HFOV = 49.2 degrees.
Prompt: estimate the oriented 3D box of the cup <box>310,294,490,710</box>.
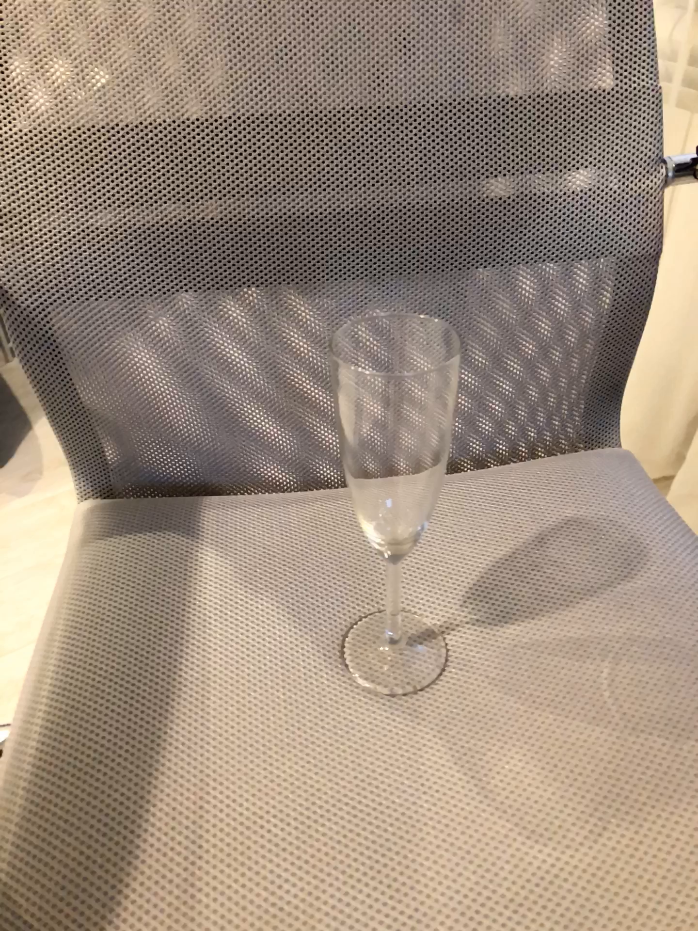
[{"bbox_3d":[0.027,0.031,0.414,0.074,0.228,0.075,-2,37,2],"label":"cup"}]
